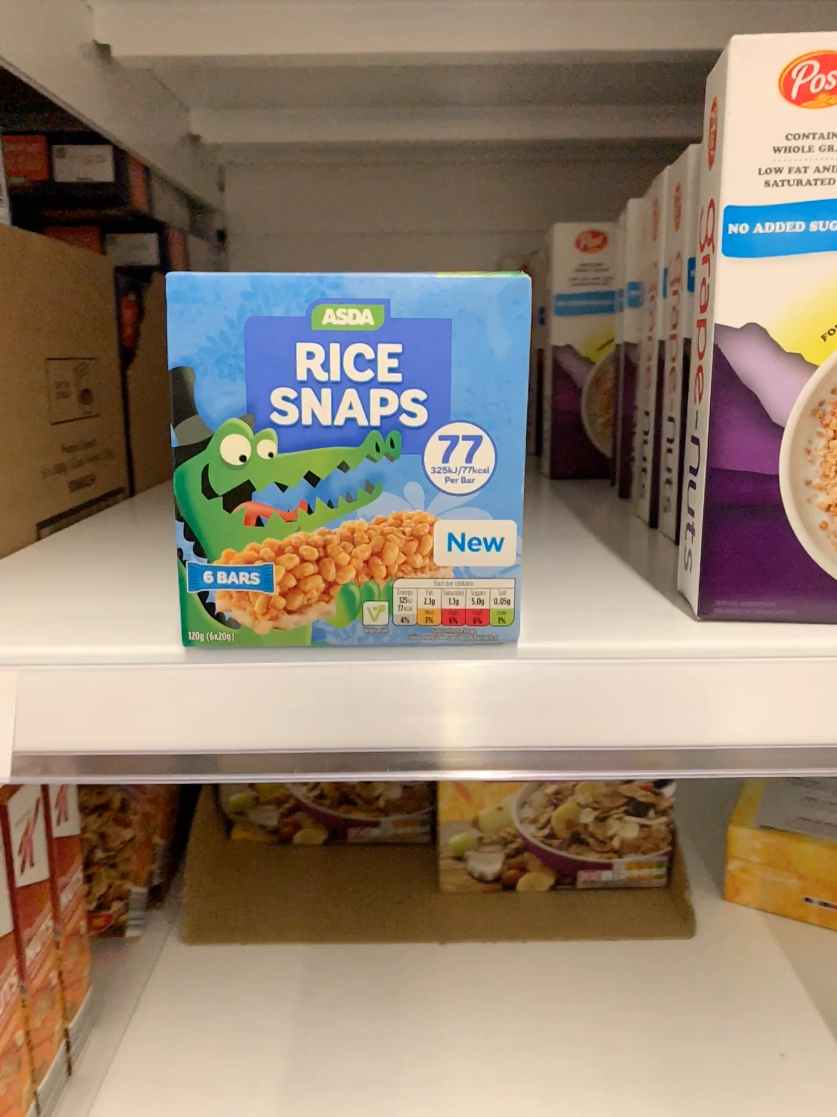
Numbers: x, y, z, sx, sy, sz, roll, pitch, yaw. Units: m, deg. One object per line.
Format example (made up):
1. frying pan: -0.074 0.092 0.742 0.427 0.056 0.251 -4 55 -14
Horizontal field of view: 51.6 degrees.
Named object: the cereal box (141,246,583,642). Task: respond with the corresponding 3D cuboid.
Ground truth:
1. cereal box: -0.019 -0.040 0.313 0.140 0.129 0.050 0 12 -2
